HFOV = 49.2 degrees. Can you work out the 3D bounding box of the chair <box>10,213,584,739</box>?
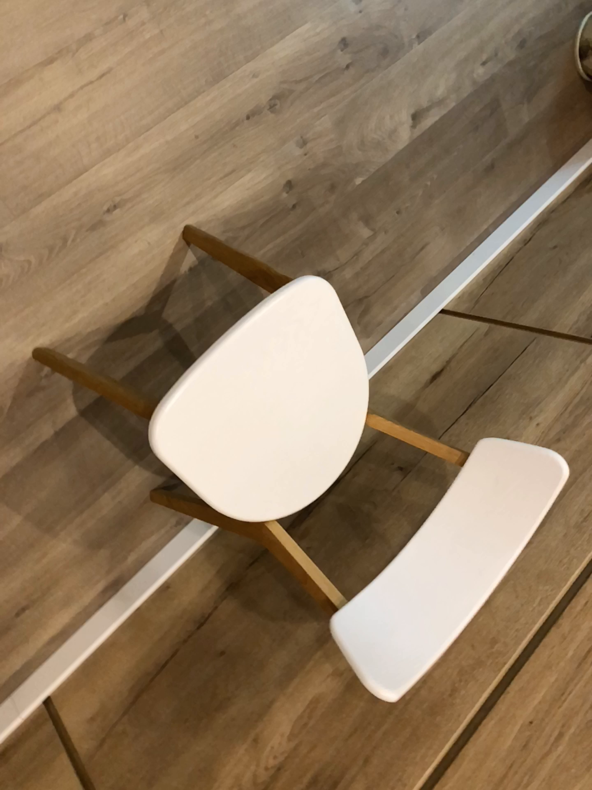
[{"bbox_3d":[-0.040,0.055,1.200,0.501,0.826,0.532,-46,127,-16],"label":"chair"}]
